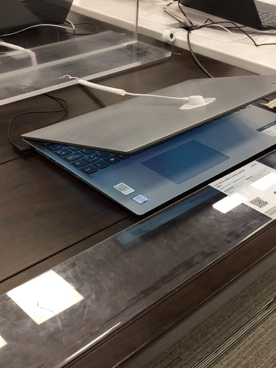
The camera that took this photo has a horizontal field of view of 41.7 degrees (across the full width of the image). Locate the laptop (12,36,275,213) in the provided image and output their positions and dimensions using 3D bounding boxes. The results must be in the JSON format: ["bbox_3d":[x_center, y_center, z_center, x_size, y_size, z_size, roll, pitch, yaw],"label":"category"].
[{"bbox_3d":[0.062,-0.120,0.573,0.367,0.097,0.245,-29,51,-29],"label":"laptop"}]
